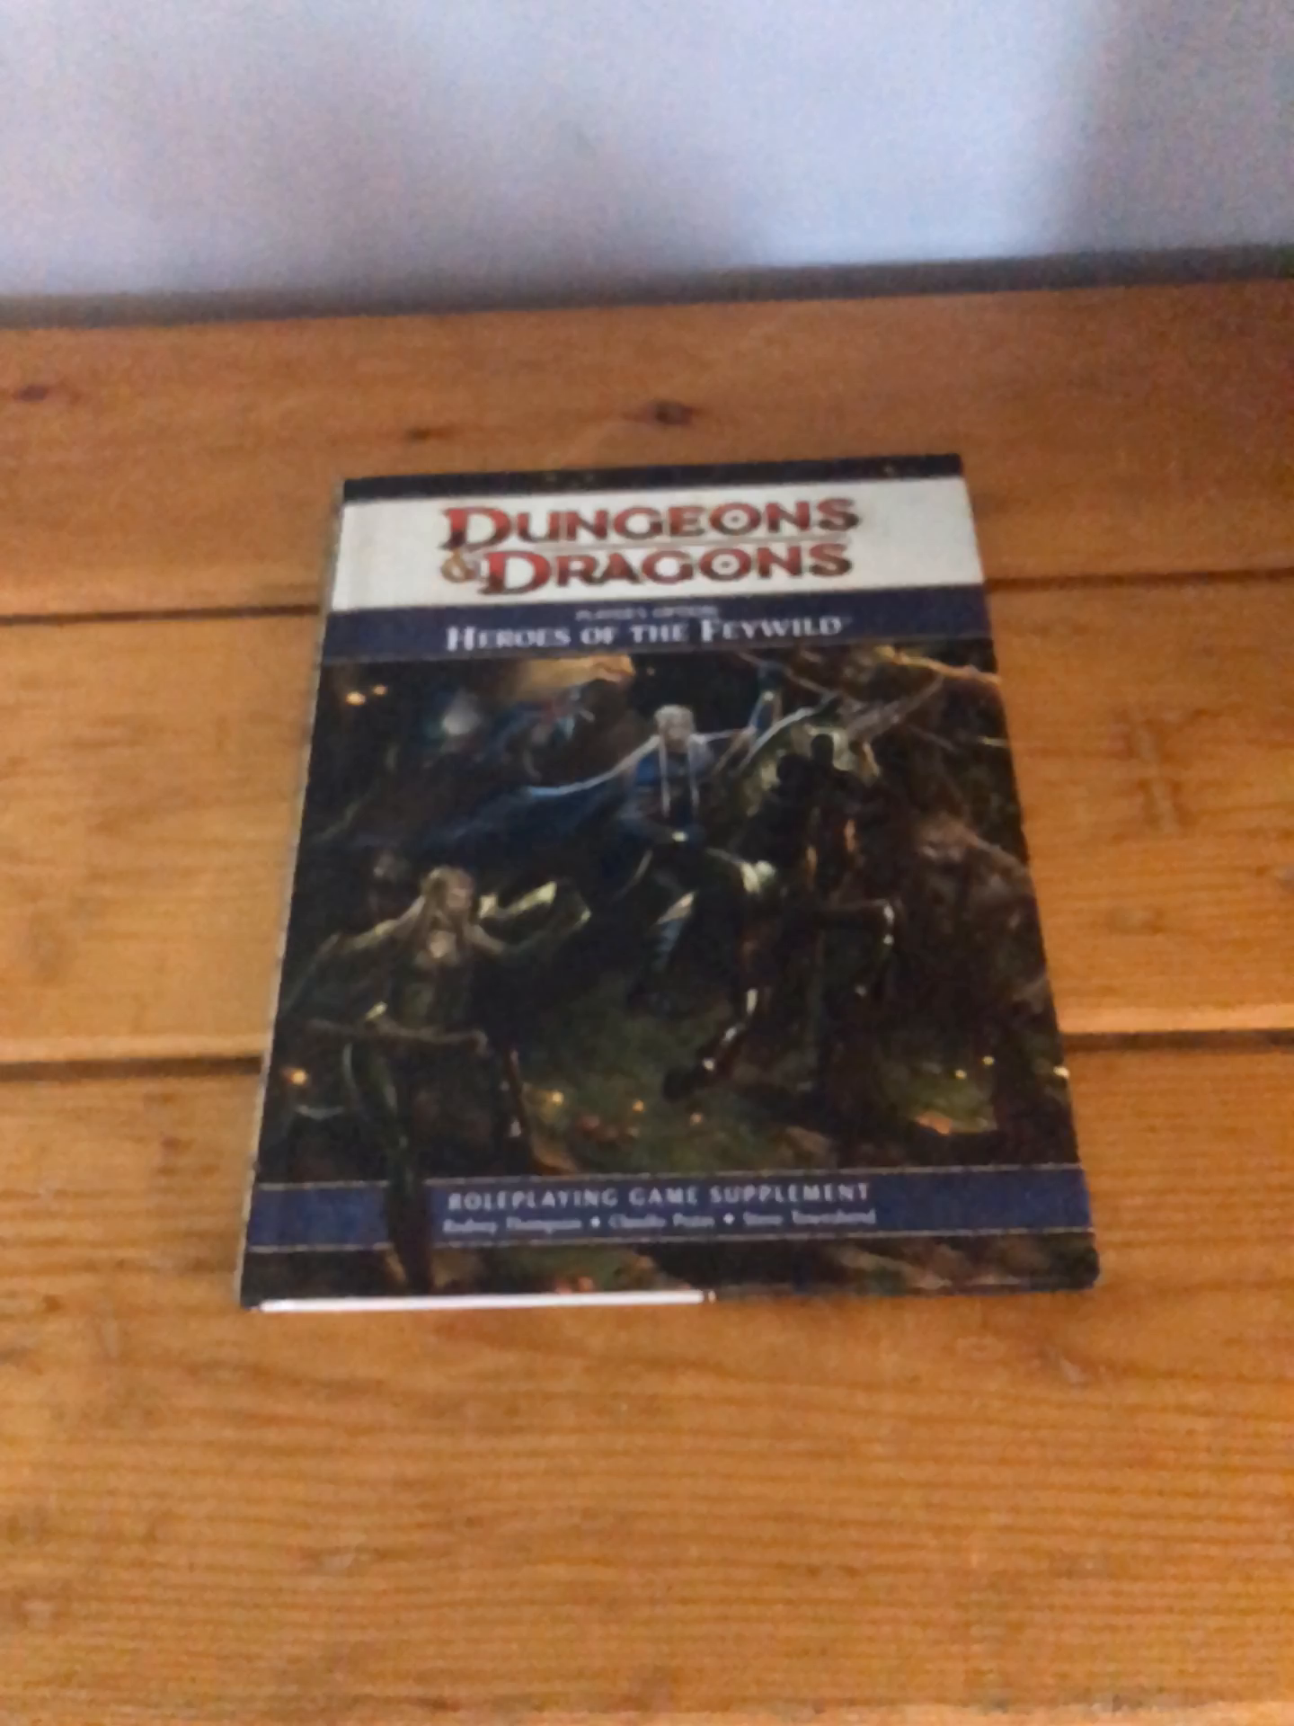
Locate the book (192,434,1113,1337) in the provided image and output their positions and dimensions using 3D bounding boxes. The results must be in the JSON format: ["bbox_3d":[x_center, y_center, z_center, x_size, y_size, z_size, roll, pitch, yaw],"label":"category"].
[{"bbox_3d":[-0.001,-0.011,0.422,0.220,0.020,0.280,-2,61,2],"label":"book"}]
